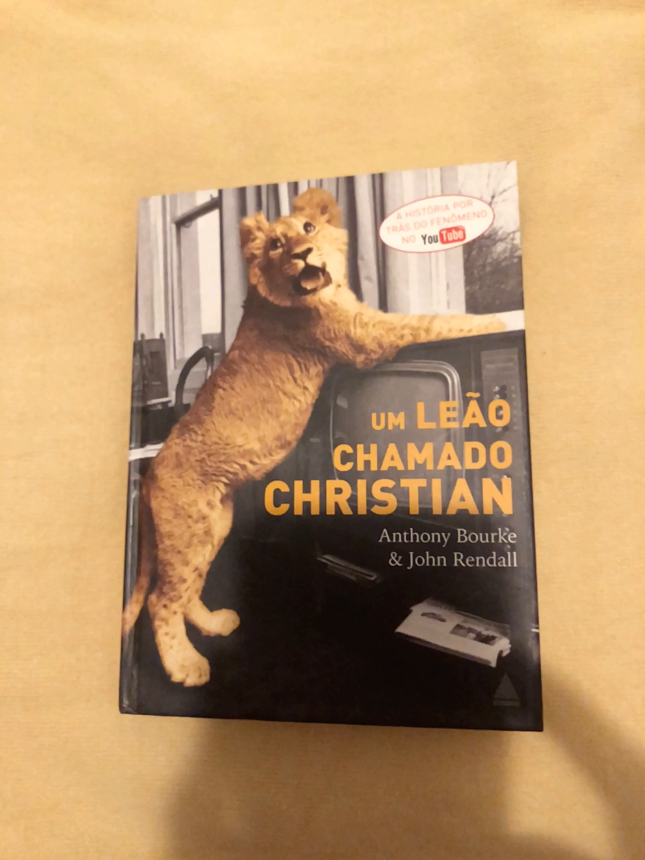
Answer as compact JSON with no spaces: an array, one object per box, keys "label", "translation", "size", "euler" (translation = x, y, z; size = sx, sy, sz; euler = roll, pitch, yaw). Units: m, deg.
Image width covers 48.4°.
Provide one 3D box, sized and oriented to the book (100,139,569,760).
[{"label":"book","translation":[0.002,0.003,0.259],"size":[0.150,0.030,0.200],"euler":[-3,78,13]}]
